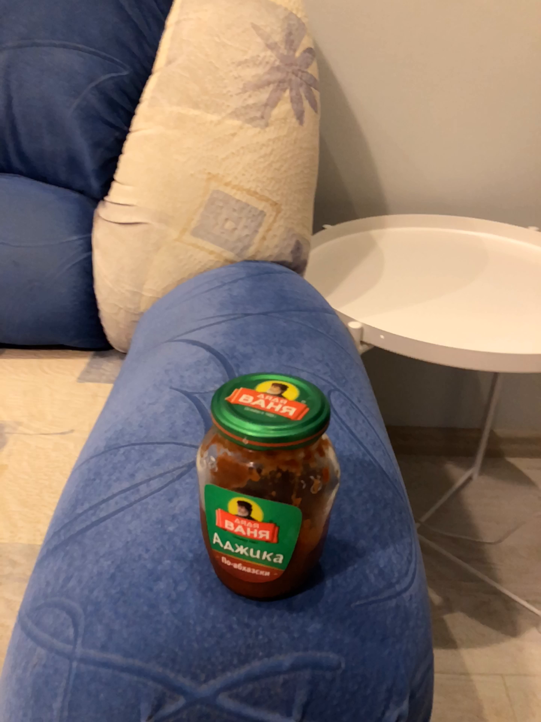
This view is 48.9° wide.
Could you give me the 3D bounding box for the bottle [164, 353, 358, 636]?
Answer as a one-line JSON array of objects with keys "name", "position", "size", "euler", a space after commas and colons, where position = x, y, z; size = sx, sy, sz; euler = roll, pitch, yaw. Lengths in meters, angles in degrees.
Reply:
[{"name": "bottle", "position": [-0.004, 0.056, 0.265], "size": [0.060, 0.092, 0.060], "euler": [2, 27, -1]}]
